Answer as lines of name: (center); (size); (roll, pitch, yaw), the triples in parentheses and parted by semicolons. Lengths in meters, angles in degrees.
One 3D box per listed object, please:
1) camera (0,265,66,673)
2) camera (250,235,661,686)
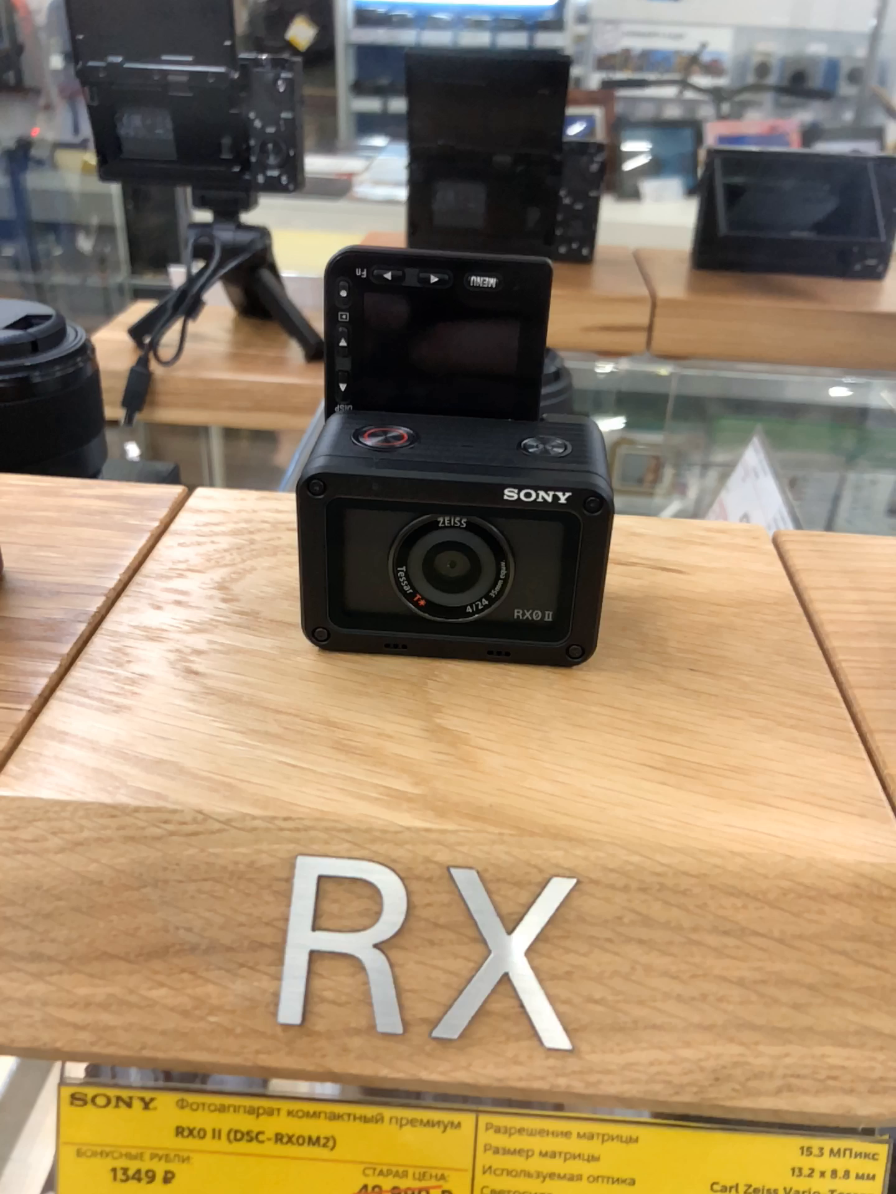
camera: (-0.144, -0.027, 0.208); (0.105, 0.067, 0.041); (4, 30, 2)
camera: (0.002, -0.027, 0.190); (0.062, 0.067, 0.050); (4, 30, 2)
